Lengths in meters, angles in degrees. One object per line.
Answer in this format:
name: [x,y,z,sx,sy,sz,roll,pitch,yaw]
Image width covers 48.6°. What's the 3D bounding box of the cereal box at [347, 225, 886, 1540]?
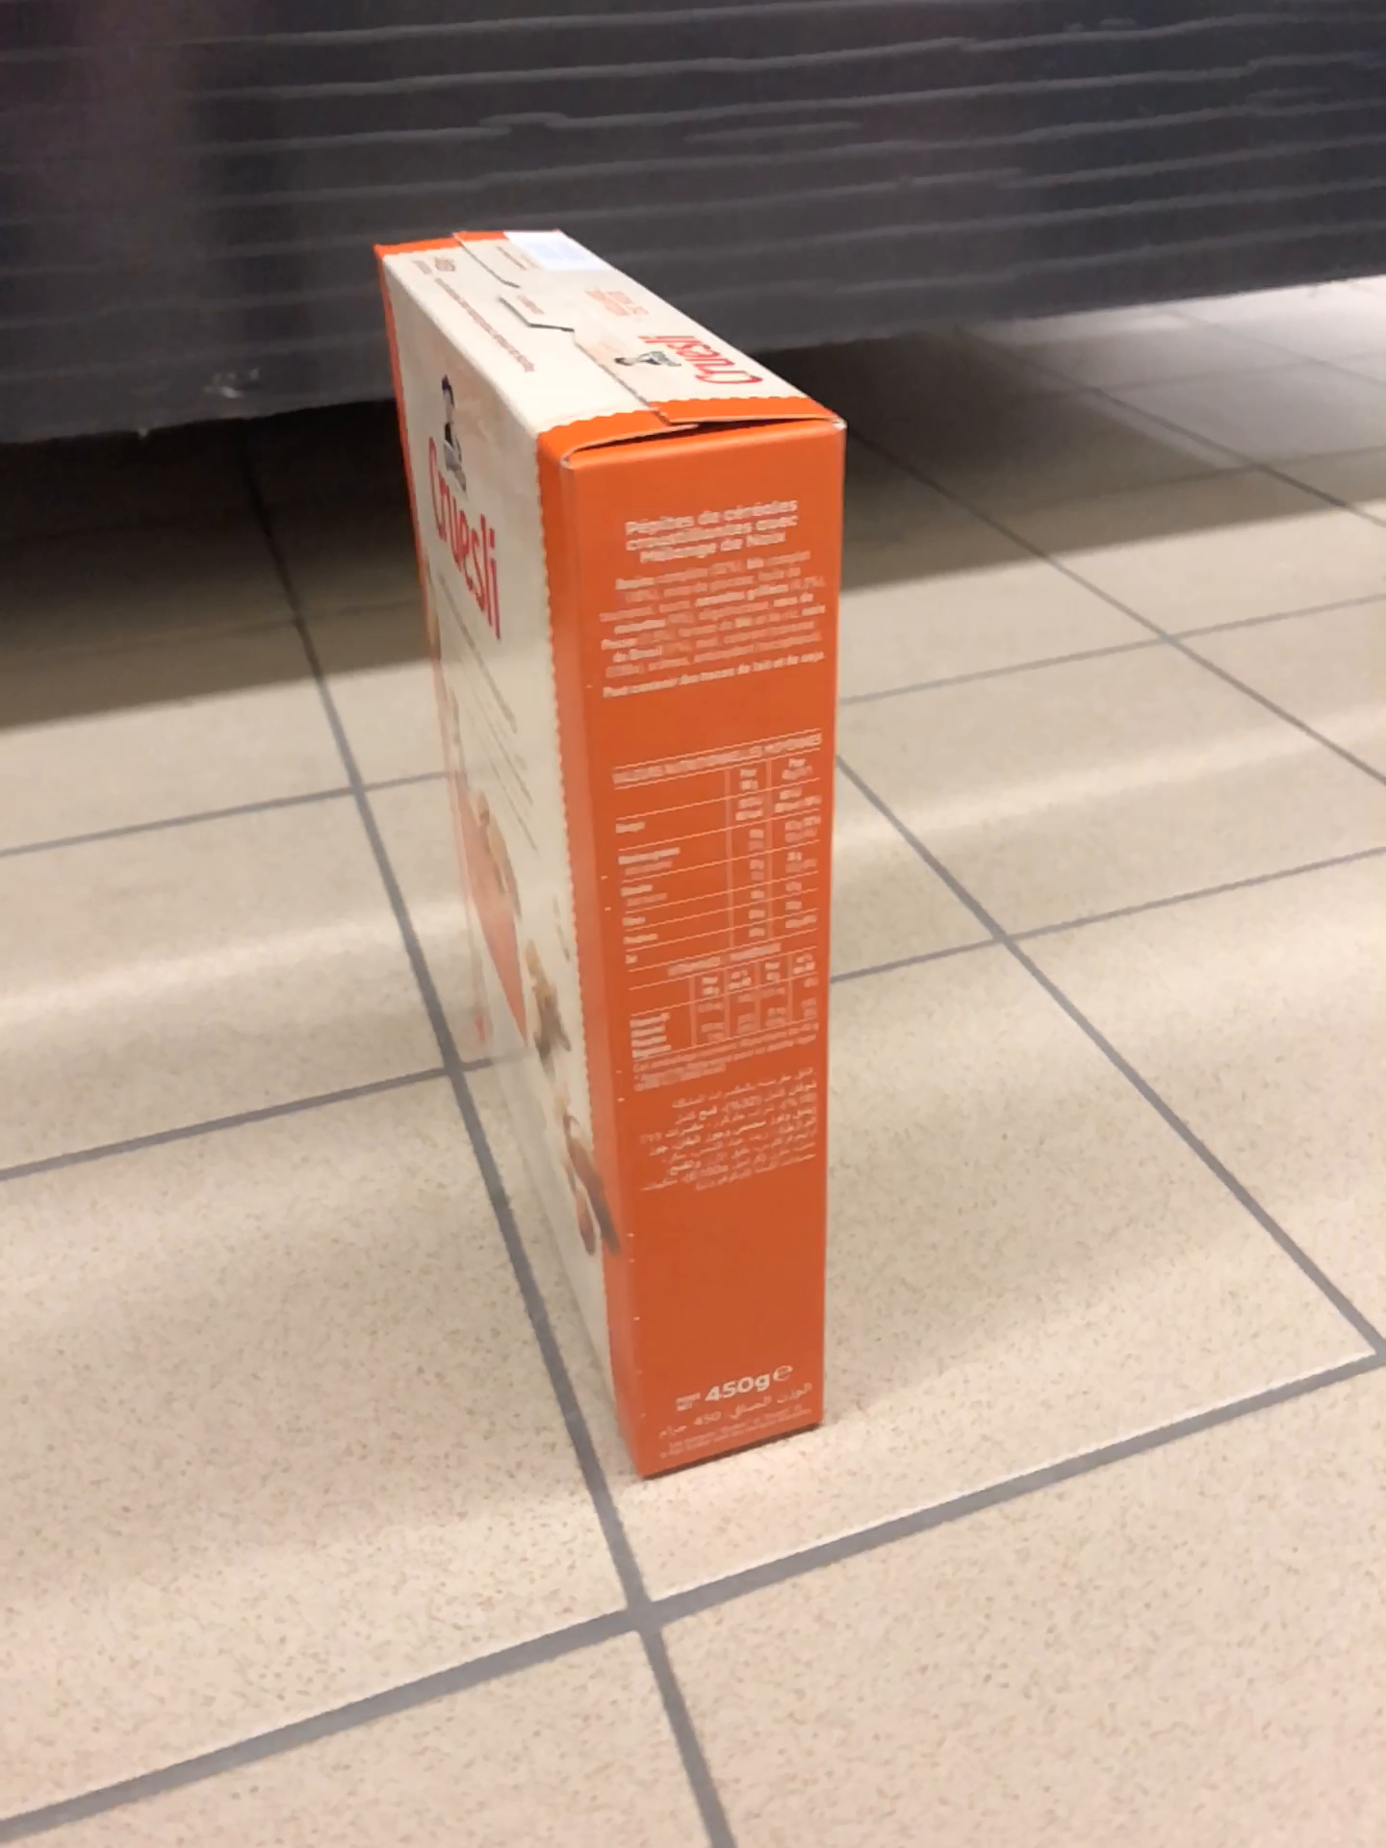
cereal box: [-0.025,-0.020,0.375,0.060,0.248,0.201,-11,33,-13]
